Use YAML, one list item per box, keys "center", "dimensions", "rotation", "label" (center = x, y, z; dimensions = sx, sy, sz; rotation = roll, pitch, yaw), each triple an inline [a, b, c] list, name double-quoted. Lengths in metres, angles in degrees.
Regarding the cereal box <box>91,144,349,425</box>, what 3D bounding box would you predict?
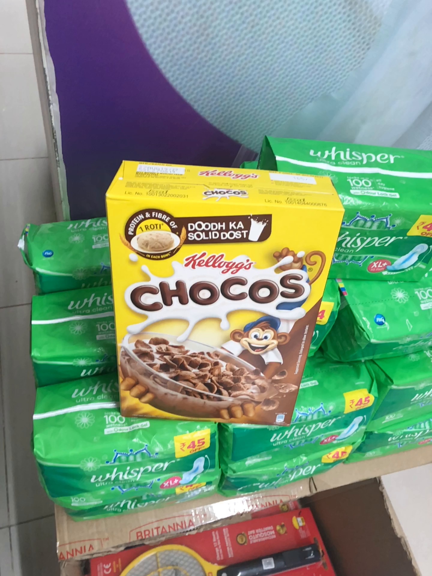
- center: [-0.005, 0.010, 0.460]
  dimensions: [0.190, 0.260, 0.080]
  rotation: [4, 36, -2]
  label: "cereal box"
